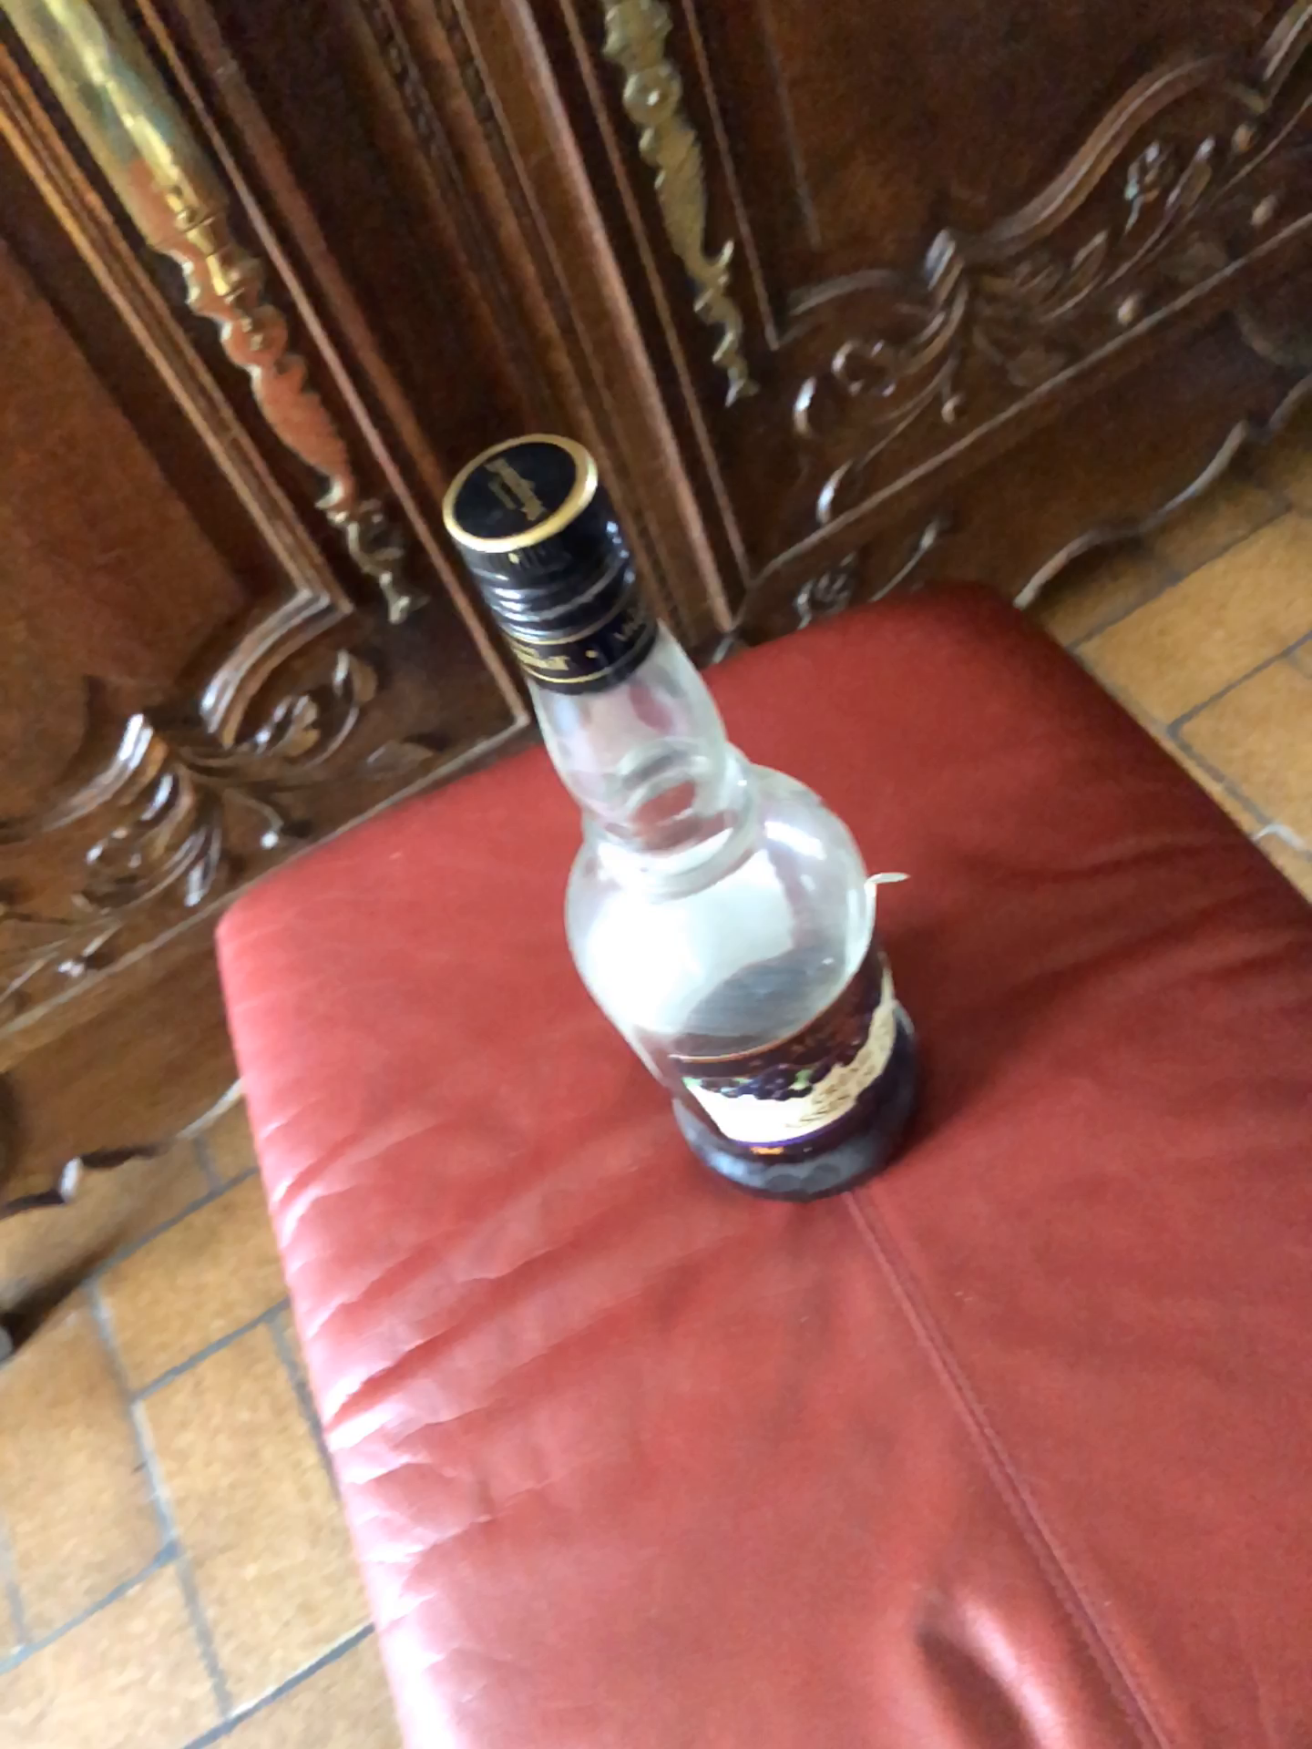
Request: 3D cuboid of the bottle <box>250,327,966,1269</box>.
[{"bbox_3d":[0.013,0.005,0.384,0.080,0.279,0.080,-9,55,13],"label":"bottle"}]
